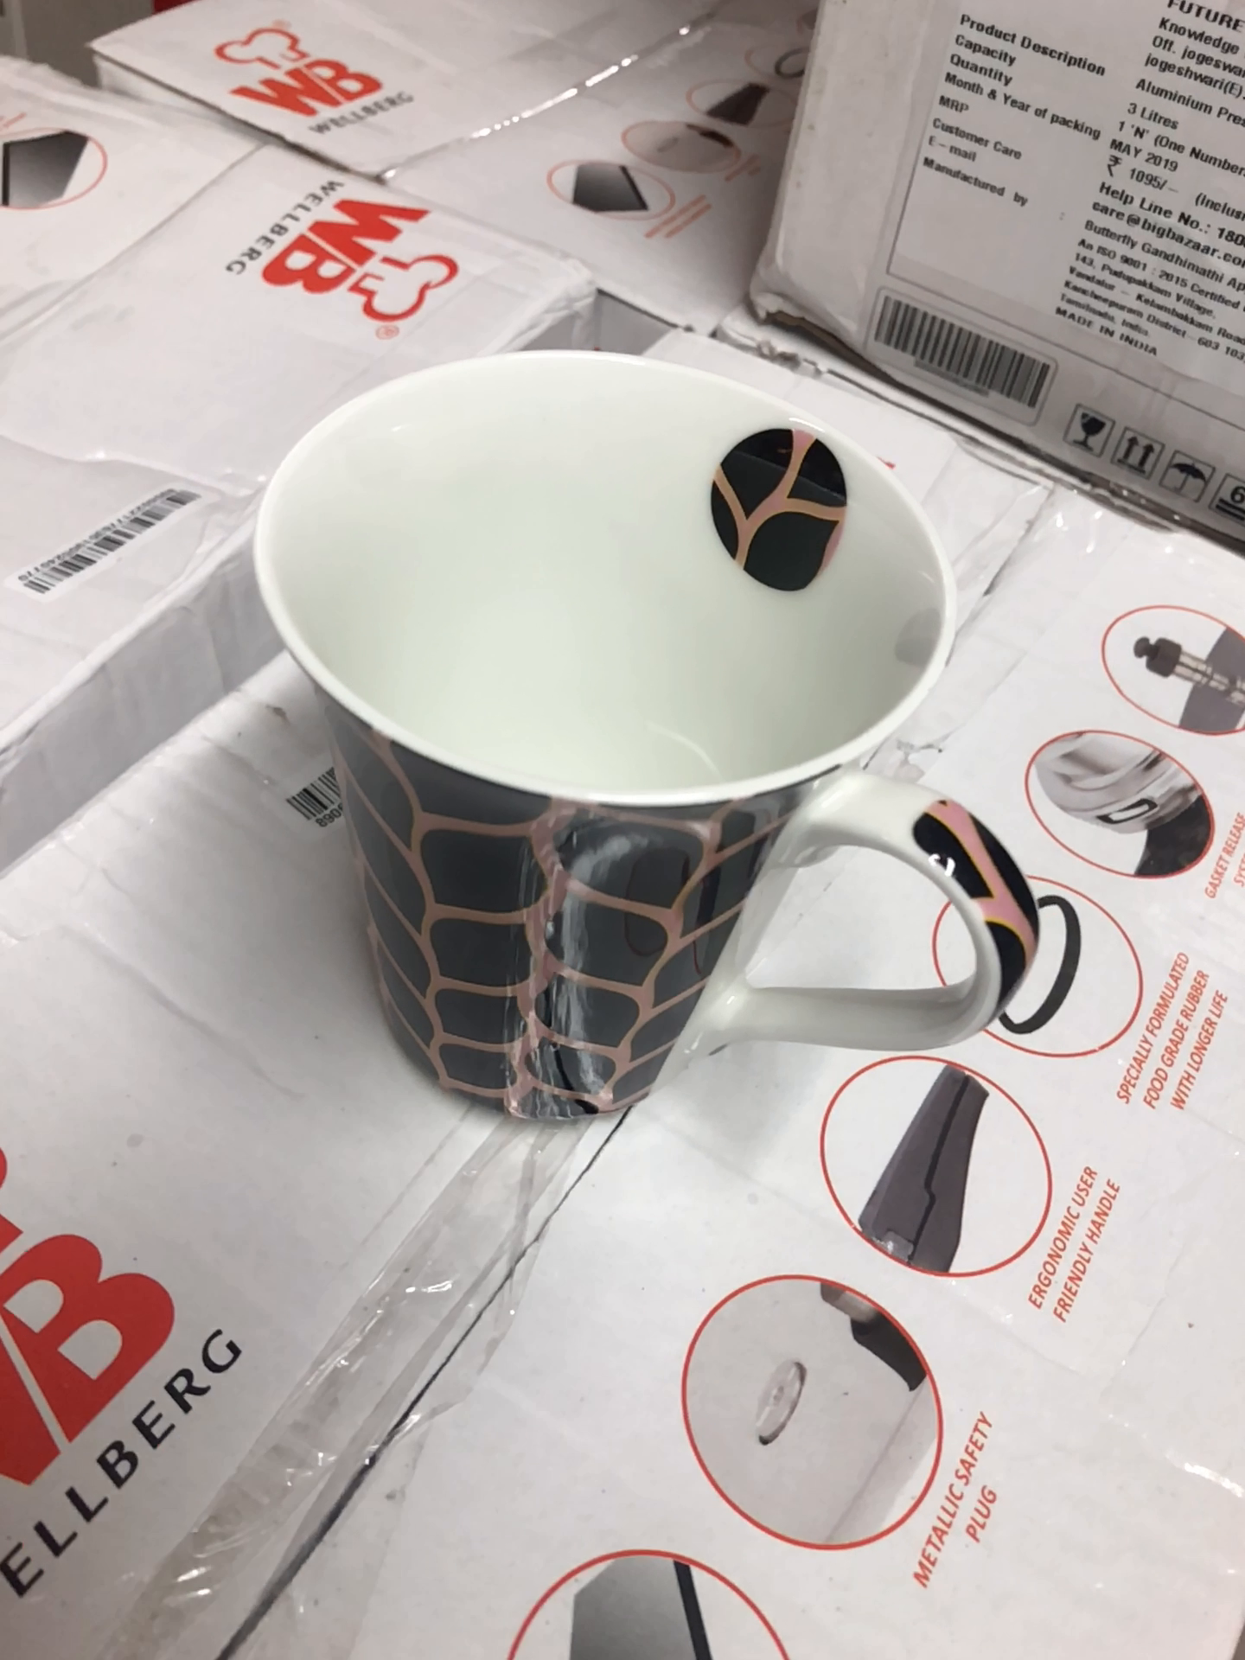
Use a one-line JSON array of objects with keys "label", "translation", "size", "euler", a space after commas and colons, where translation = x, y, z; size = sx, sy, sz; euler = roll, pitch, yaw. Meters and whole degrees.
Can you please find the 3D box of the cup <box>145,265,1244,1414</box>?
[{"label": "cup", "translation": [0.009, 0.000, 0.194], "size": [0.110, 0.089, 0.080], "euler": [31, 52, 13]}]
